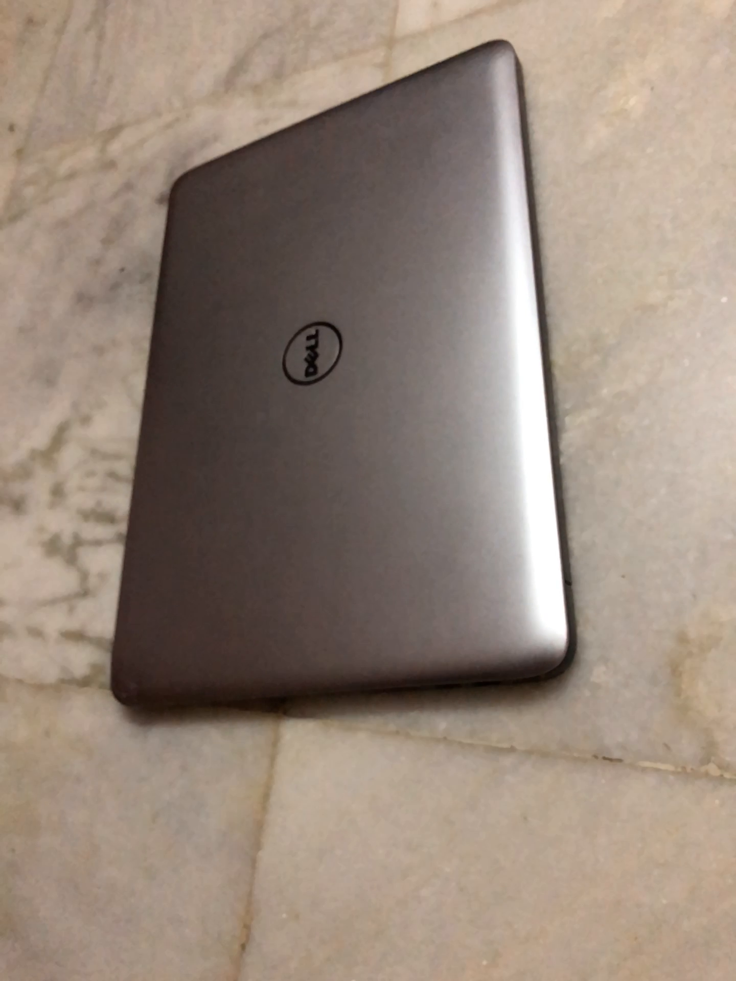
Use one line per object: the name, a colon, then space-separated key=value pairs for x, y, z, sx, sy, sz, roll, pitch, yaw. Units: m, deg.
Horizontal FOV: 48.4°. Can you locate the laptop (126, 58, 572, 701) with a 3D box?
laptop: x=-0.024 y=-0.068 z=0.461 sx=0.244 sy=0.002 sz=0.346 roll=-12 pitch=65 yaw=25
